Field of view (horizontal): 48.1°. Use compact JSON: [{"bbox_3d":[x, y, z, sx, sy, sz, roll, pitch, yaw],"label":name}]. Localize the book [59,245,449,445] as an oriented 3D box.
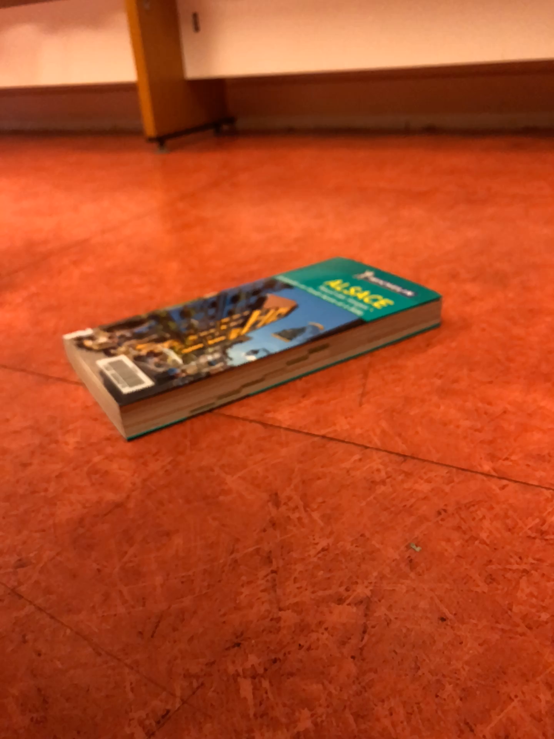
[{"bbox_3d":[-0.013,-0.029,0.391,0.213,0.030,0.116,-19,31,-26],"label":"book"}]
